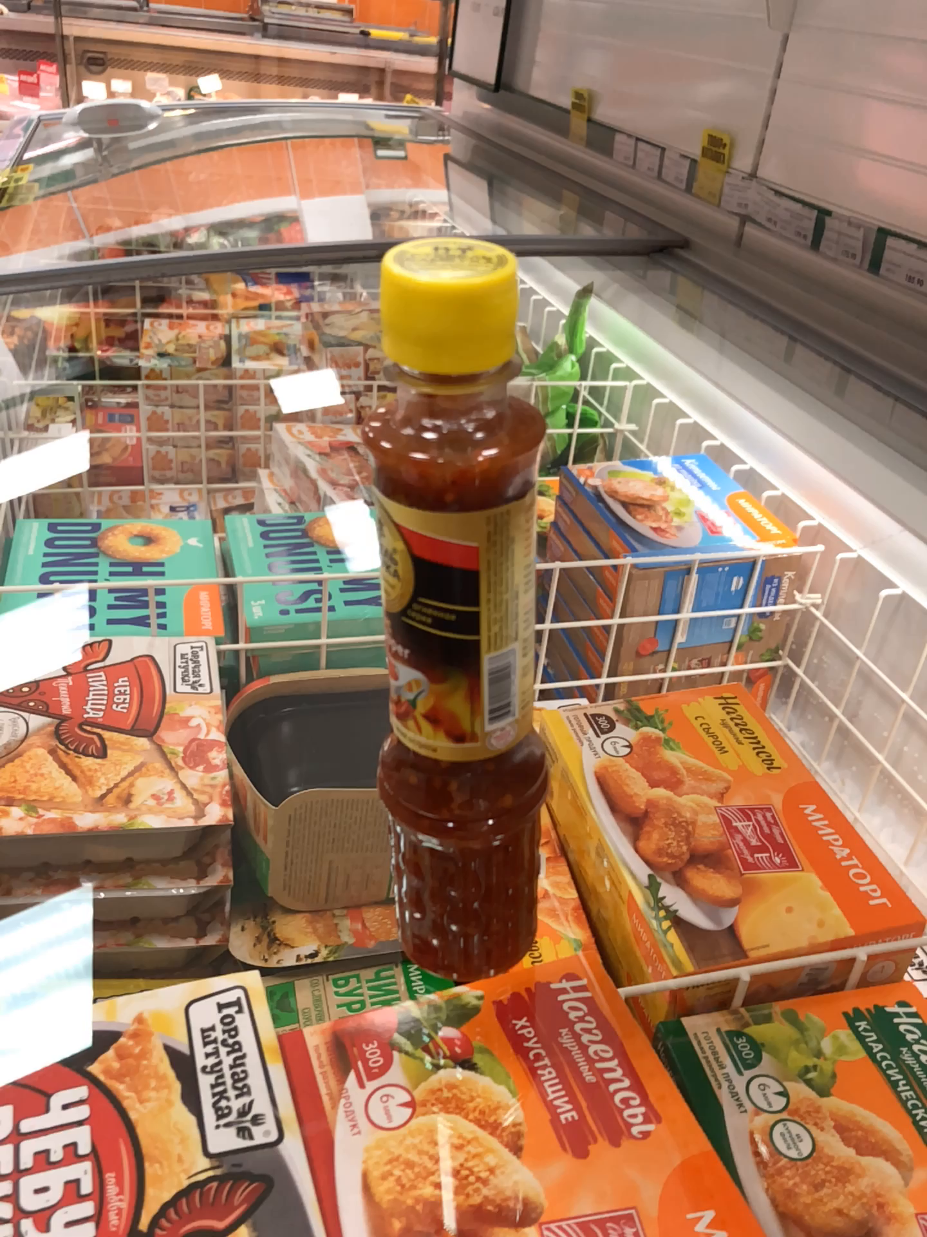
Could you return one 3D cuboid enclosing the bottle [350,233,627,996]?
[{"bbox_3d":[0.002,0.010,0.284,0.047,0.212,0.048,1,32,-1],"label":"bottle"}]
